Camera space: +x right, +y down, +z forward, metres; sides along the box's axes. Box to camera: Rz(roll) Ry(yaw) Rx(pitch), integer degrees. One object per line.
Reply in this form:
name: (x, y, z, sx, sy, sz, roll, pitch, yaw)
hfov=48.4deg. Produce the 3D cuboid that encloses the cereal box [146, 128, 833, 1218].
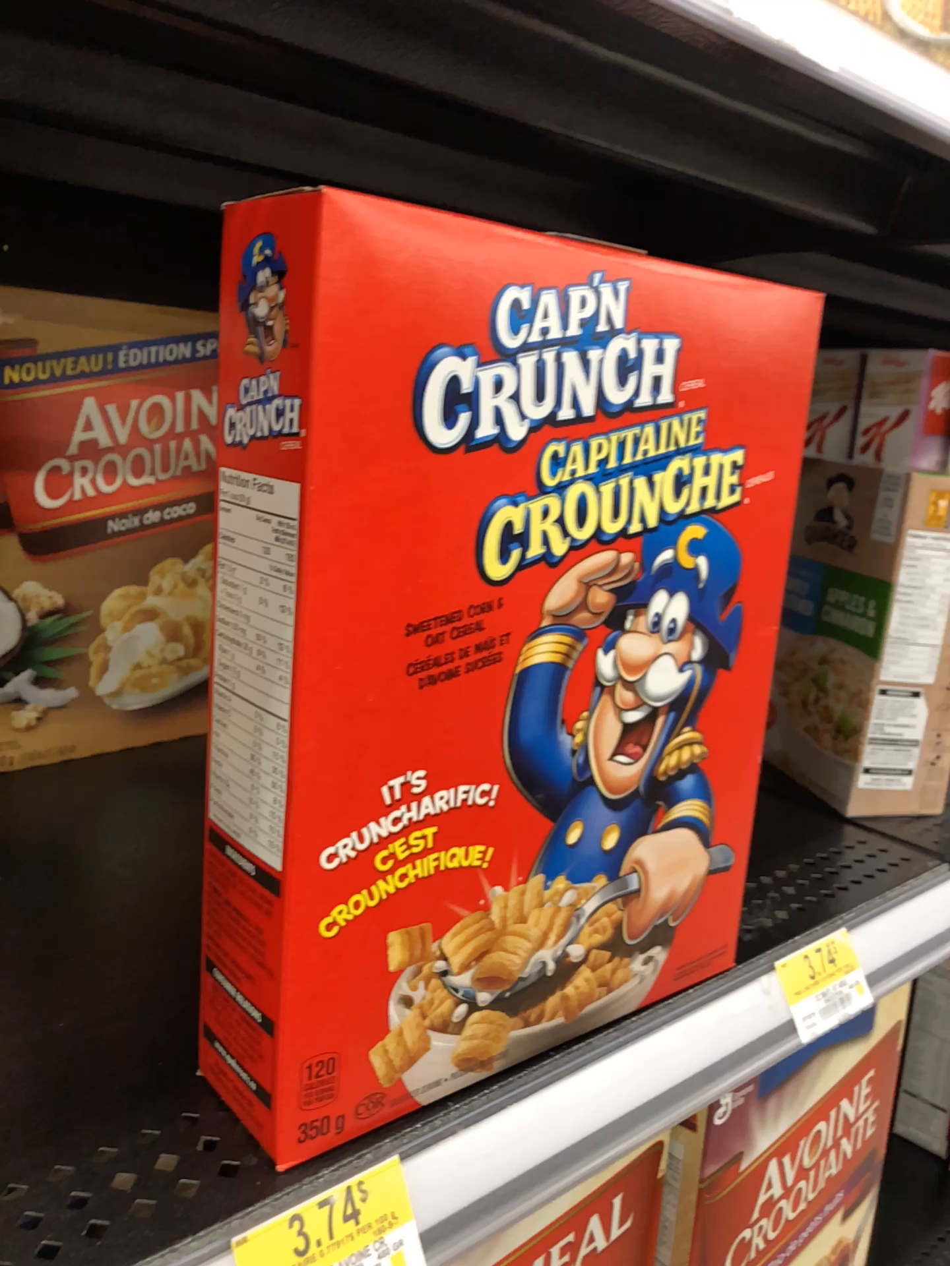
cereal box: (0.011, 0.009, 0.354, 0.220, 0.279, 0.060, -5, 15, -40)
